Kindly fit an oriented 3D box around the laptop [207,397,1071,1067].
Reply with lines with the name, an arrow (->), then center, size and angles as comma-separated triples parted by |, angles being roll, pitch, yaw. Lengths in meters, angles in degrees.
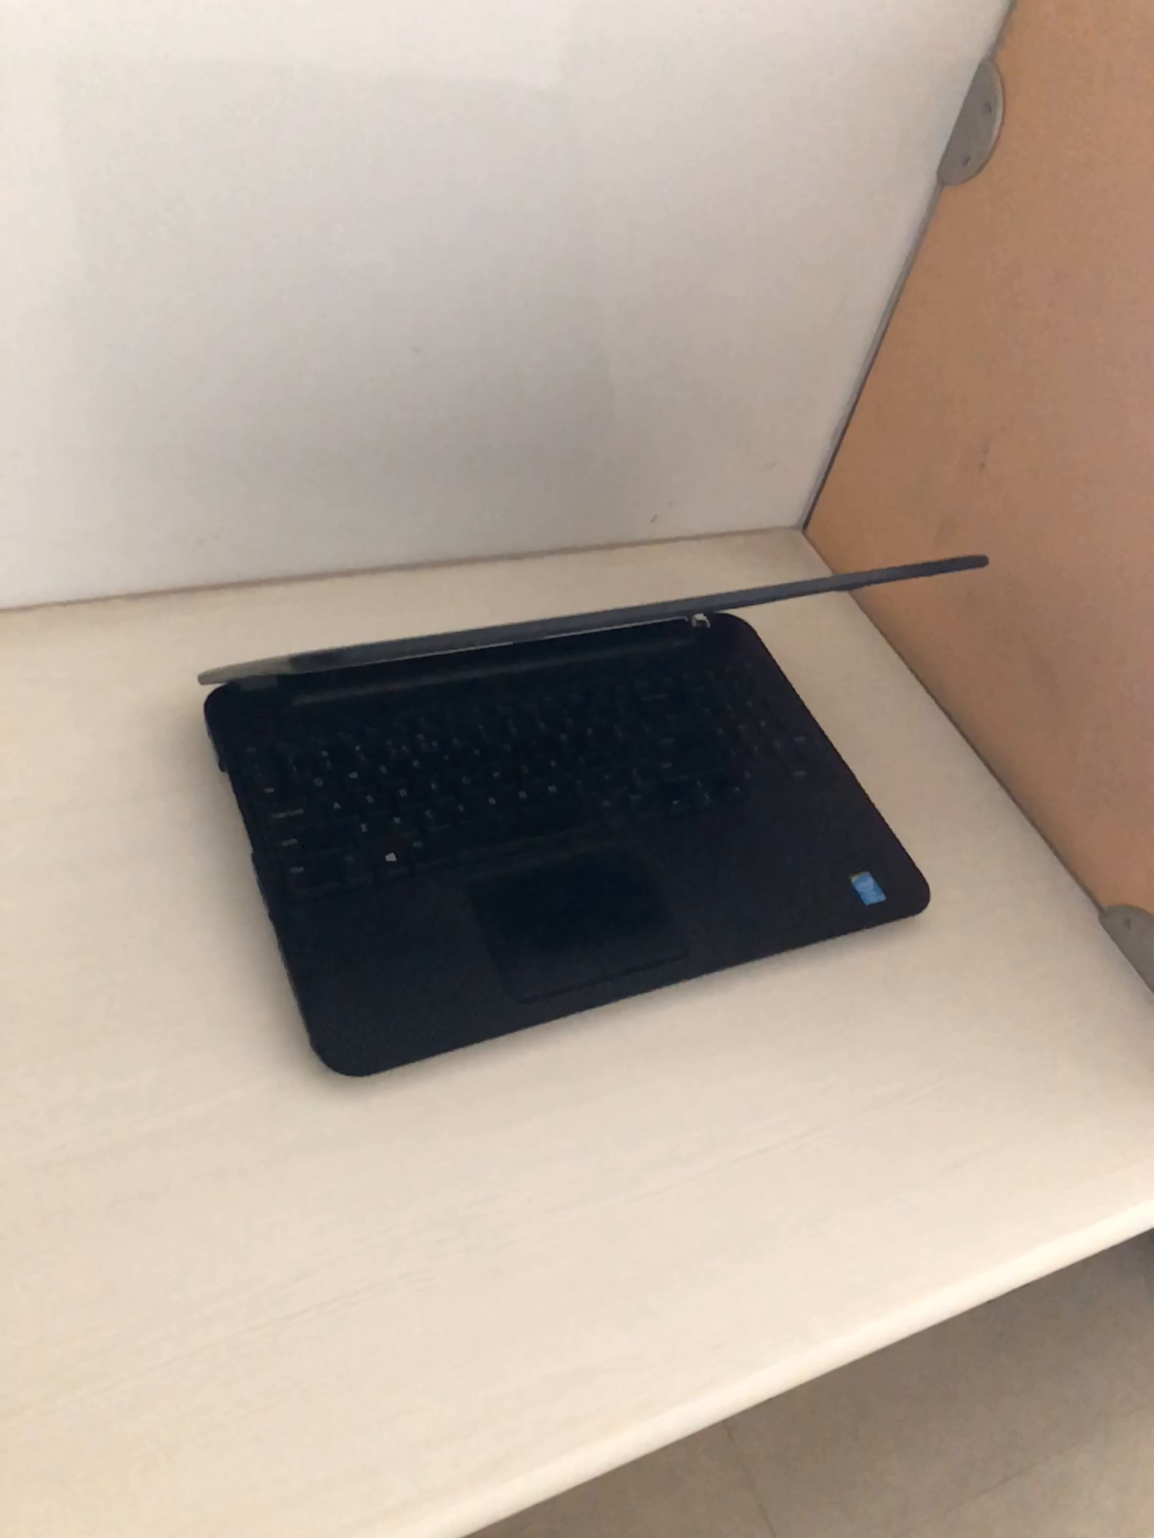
laptop -> 0.017, -0.042, 0.682 | 0.365, 0.177, 0.248 | -11, 53, -26
